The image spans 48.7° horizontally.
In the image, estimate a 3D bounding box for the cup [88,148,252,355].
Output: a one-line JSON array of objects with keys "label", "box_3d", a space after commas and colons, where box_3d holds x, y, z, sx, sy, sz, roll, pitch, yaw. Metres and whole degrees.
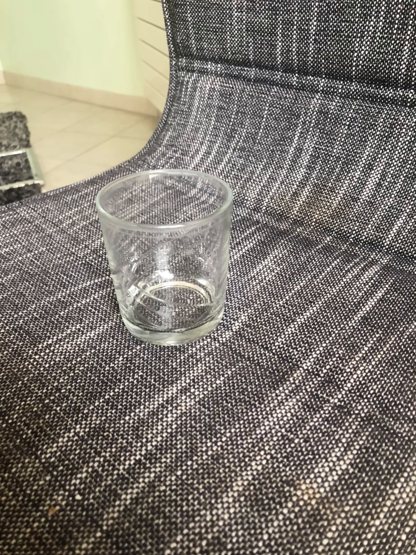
[{"label": "cup", "box_3d": [-0.021, -0.017, 0.259, 0.070, 0.080, 0.070, -3, 35, 2]}]
